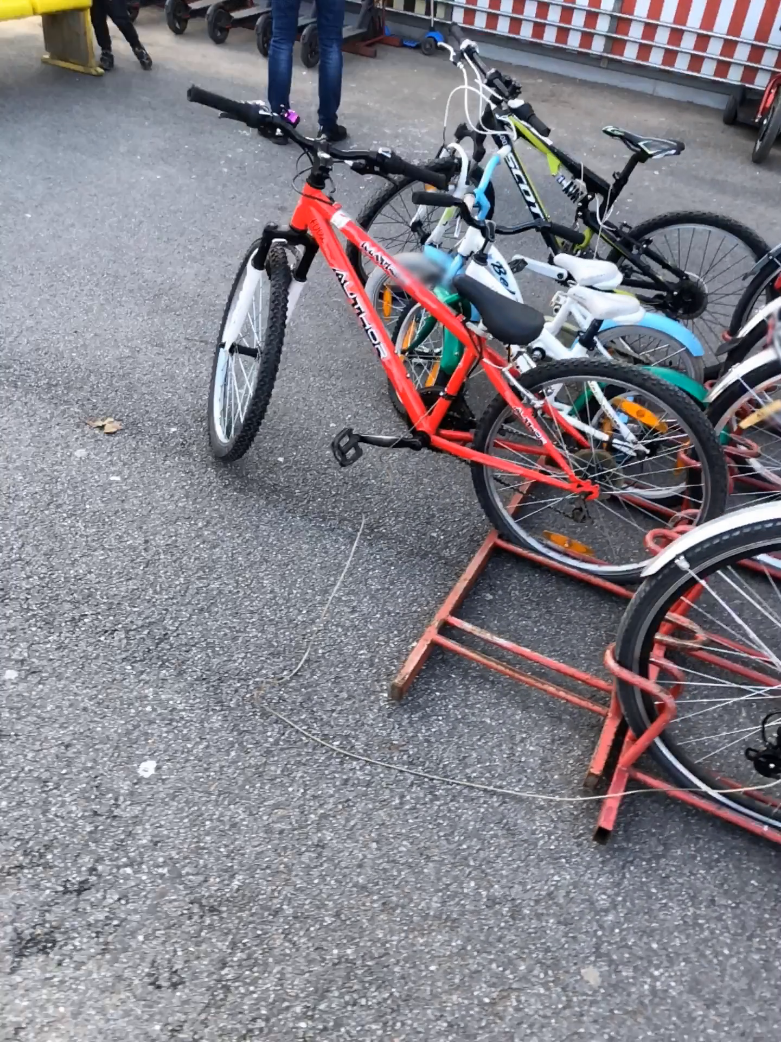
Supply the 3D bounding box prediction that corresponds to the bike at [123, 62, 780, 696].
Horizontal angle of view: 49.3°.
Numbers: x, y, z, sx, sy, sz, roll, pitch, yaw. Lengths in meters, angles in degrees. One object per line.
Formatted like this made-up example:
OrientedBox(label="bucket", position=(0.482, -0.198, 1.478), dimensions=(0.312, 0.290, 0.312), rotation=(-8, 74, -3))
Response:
OrientedBox(label="bike", position=(0.113, -0.408, 2.008), dimensions=(1.445, 0.908, 0.553), rotation=(27, 44, 24))
